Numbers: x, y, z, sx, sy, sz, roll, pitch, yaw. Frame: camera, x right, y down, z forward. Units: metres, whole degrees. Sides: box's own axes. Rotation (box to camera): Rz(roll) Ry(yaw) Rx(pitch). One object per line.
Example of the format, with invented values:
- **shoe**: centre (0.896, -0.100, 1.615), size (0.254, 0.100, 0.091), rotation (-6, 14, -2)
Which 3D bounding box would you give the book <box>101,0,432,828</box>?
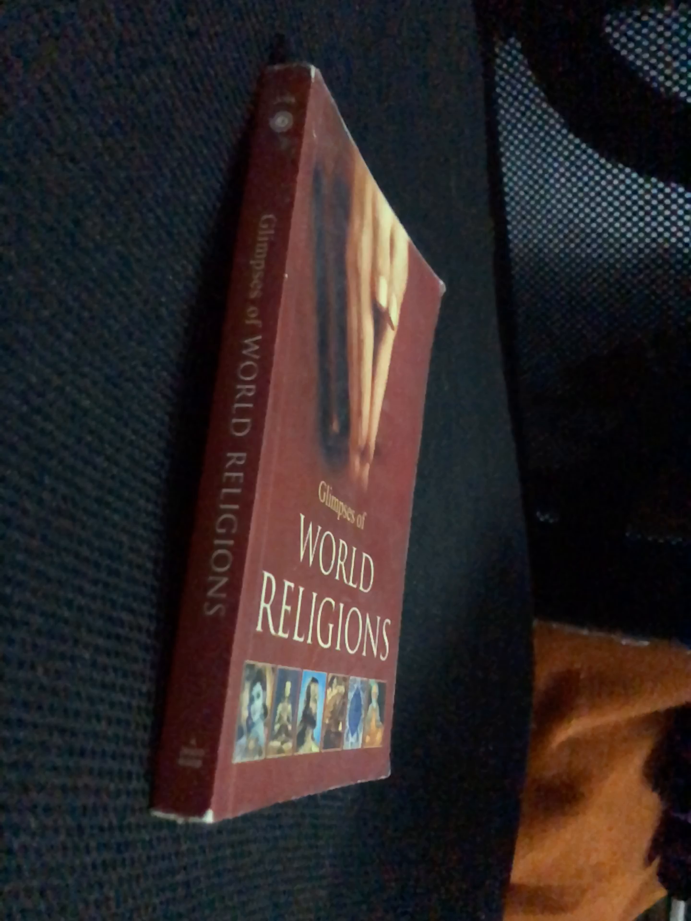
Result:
- **book**: centre (-0.006, -0.005, 0.240), size (0.141, 0.020, 0.200), rotation (43, 50, -64)
